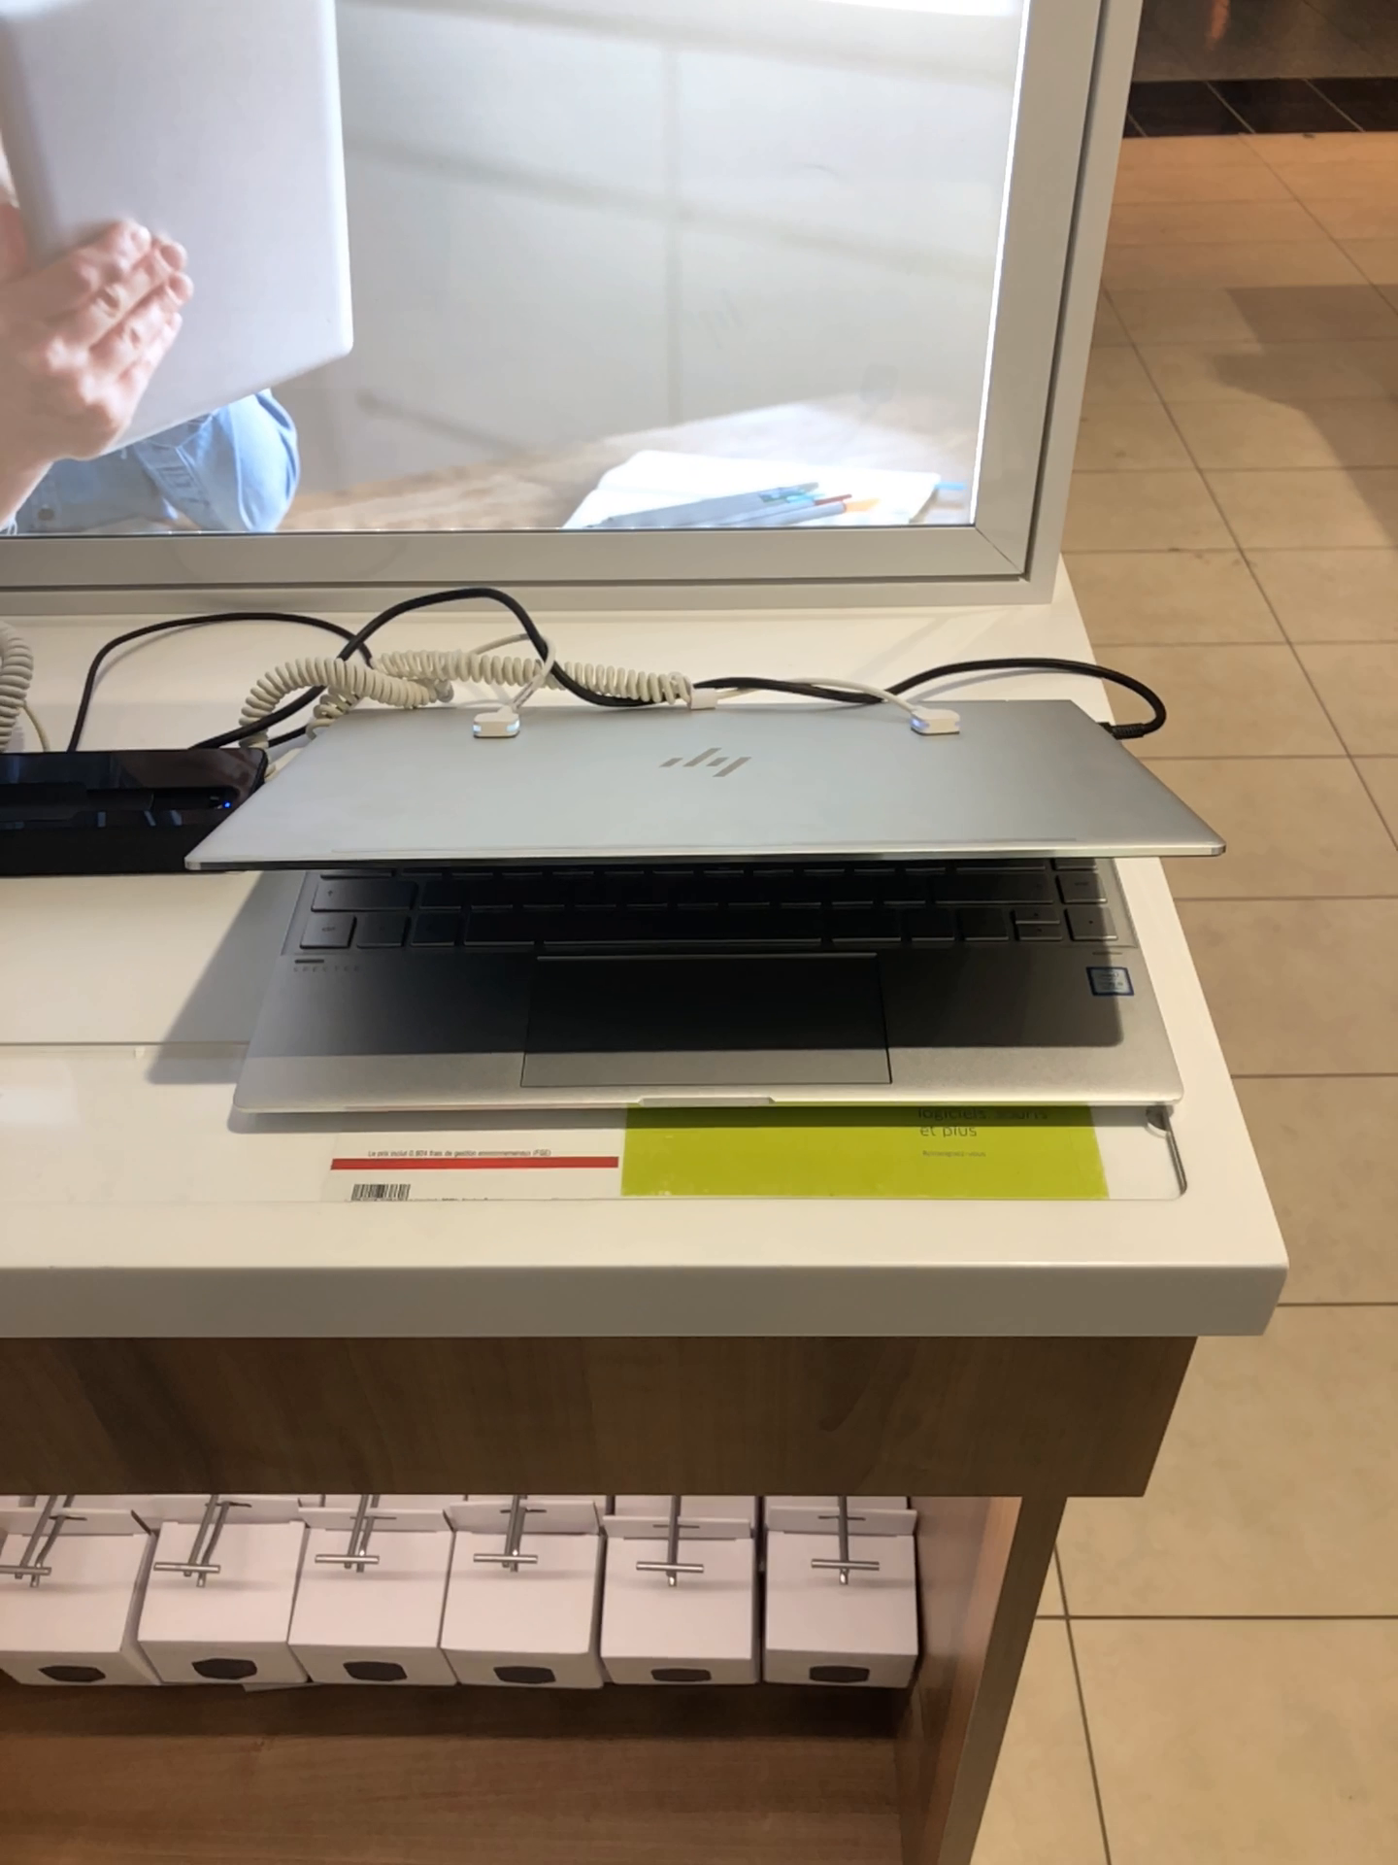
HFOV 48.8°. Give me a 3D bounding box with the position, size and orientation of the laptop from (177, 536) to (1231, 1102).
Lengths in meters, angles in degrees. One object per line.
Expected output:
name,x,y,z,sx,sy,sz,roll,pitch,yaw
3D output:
laptop,0.001,-0.048,0.538,0.298,0.078,0.212,-1,43,1
